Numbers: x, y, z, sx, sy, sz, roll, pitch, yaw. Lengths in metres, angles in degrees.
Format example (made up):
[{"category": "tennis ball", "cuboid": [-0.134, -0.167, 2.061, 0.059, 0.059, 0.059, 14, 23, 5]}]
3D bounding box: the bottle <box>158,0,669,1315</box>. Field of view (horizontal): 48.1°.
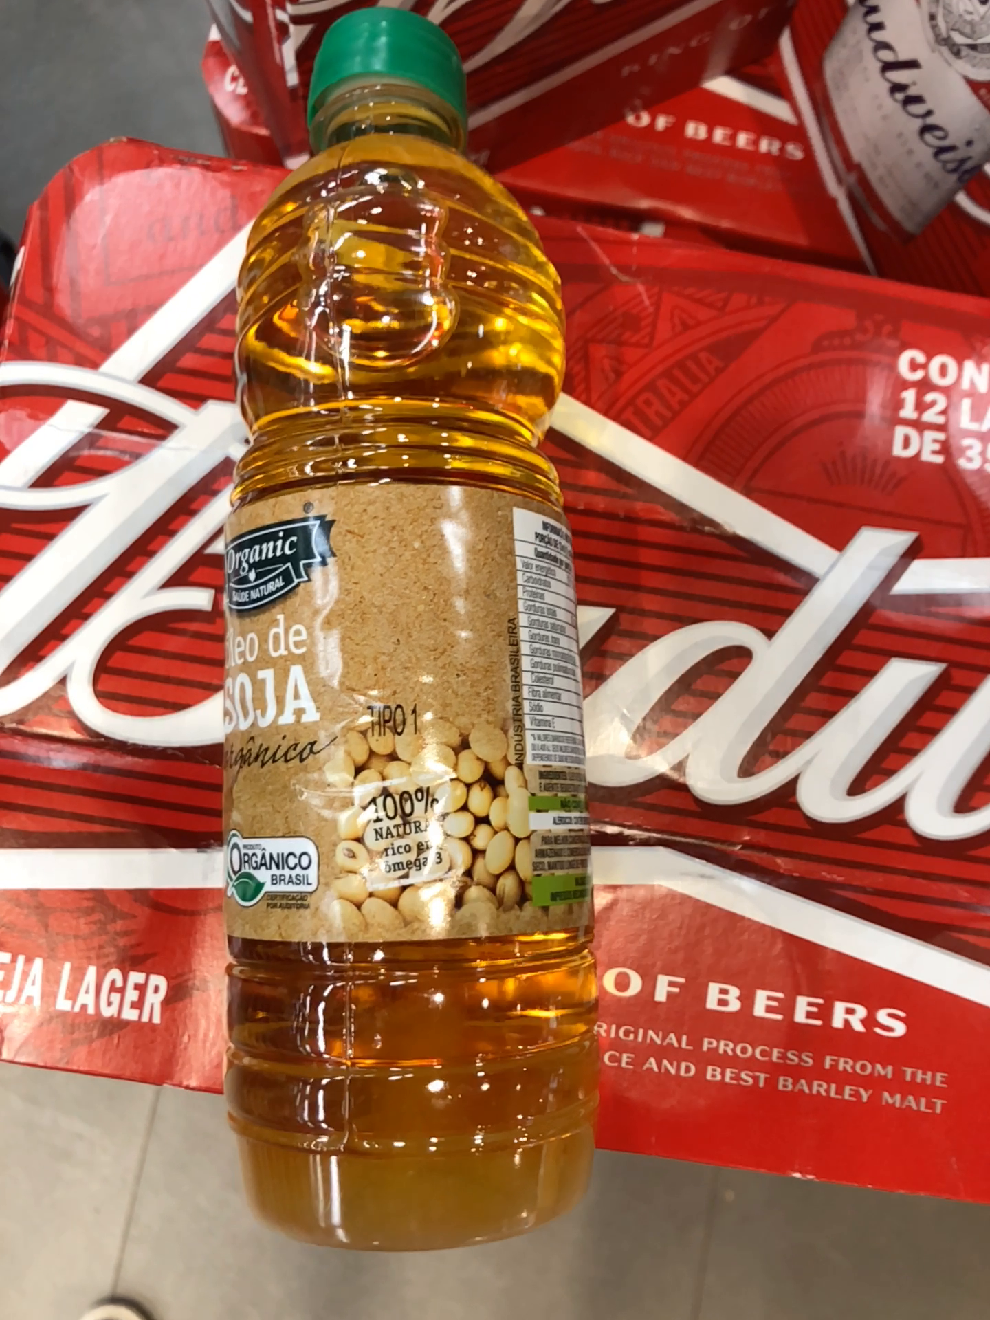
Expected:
[{"category": "bottle", "cuboid": [-0.018, -0.029, 0.201, 0.060, 0.060, 0.240, 5, 79, -41]}]
